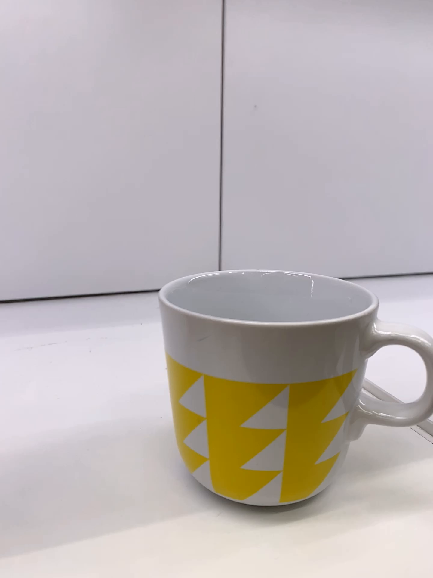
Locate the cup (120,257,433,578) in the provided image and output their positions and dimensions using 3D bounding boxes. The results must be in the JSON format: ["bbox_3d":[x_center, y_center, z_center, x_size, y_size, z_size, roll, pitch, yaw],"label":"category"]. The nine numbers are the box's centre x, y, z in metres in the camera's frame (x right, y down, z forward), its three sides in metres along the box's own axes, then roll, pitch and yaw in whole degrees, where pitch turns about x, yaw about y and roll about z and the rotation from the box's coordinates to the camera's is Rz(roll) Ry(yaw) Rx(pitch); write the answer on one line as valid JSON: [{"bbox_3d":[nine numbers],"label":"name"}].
[{"bbox_3d":[0.034,0.030,0.169,0.107,0.065,0.084,8,14,29],"label":"cup"}]
